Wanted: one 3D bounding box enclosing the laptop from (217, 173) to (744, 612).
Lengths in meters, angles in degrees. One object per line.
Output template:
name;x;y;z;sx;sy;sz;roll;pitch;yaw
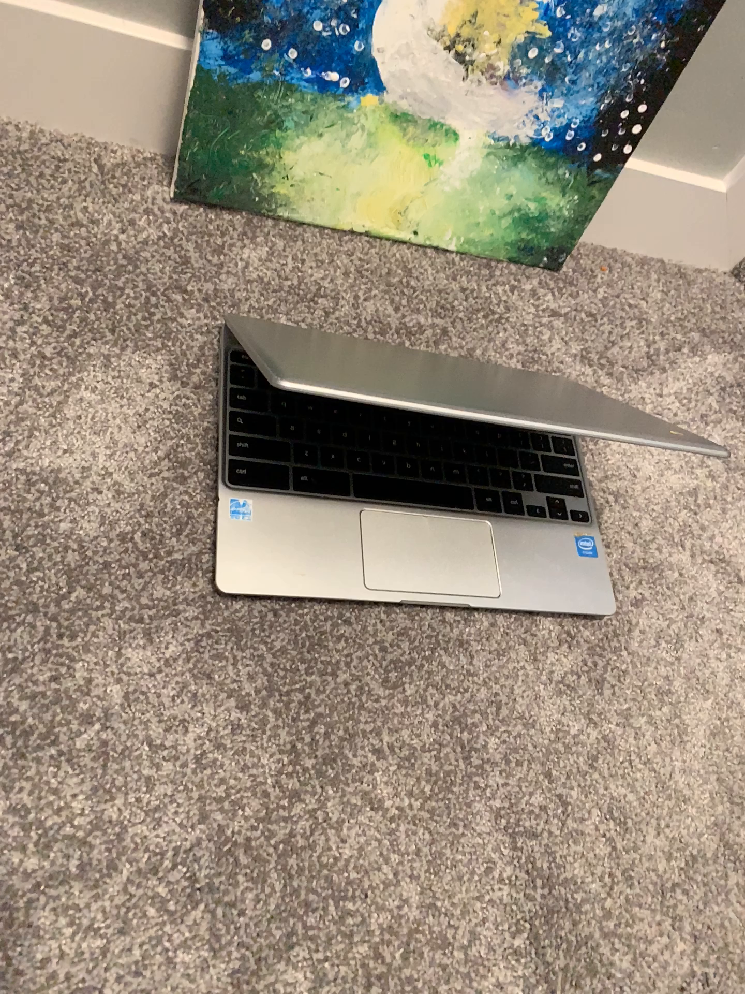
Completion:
laptop;0.061;-0.049;0.500;0.295;0.144;0.200;6;63;-21
